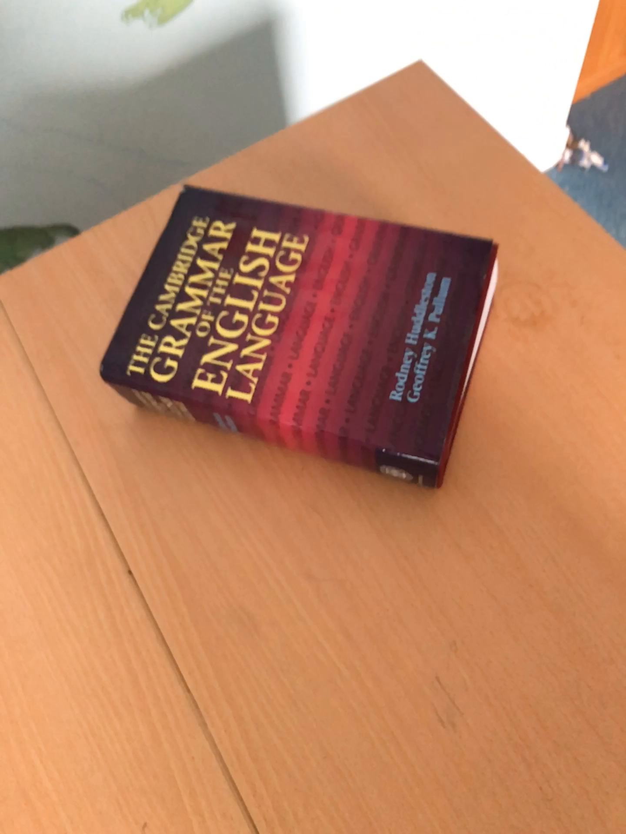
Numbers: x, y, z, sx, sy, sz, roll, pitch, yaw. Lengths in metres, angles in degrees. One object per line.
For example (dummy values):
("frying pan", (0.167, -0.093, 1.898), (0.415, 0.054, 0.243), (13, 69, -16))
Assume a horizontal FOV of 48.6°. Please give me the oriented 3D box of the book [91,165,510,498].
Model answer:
("book", (-0.004, -0.073, 0.540), (0.260, 0.070, 0.195), (15, 69, 11))
